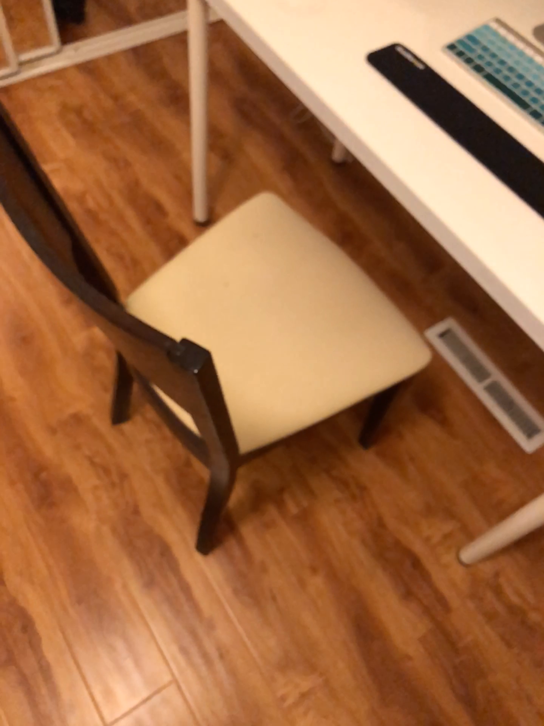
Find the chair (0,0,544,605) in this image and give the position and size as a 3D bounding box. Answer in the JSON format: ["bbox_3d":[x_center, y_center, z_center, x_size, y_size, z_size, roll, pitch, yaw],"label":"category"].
[{"bbox_3d":[-0.020,-0.115,1.009,0.661,0.887,0.571,-30,67,-20],"label":"chair"}]
